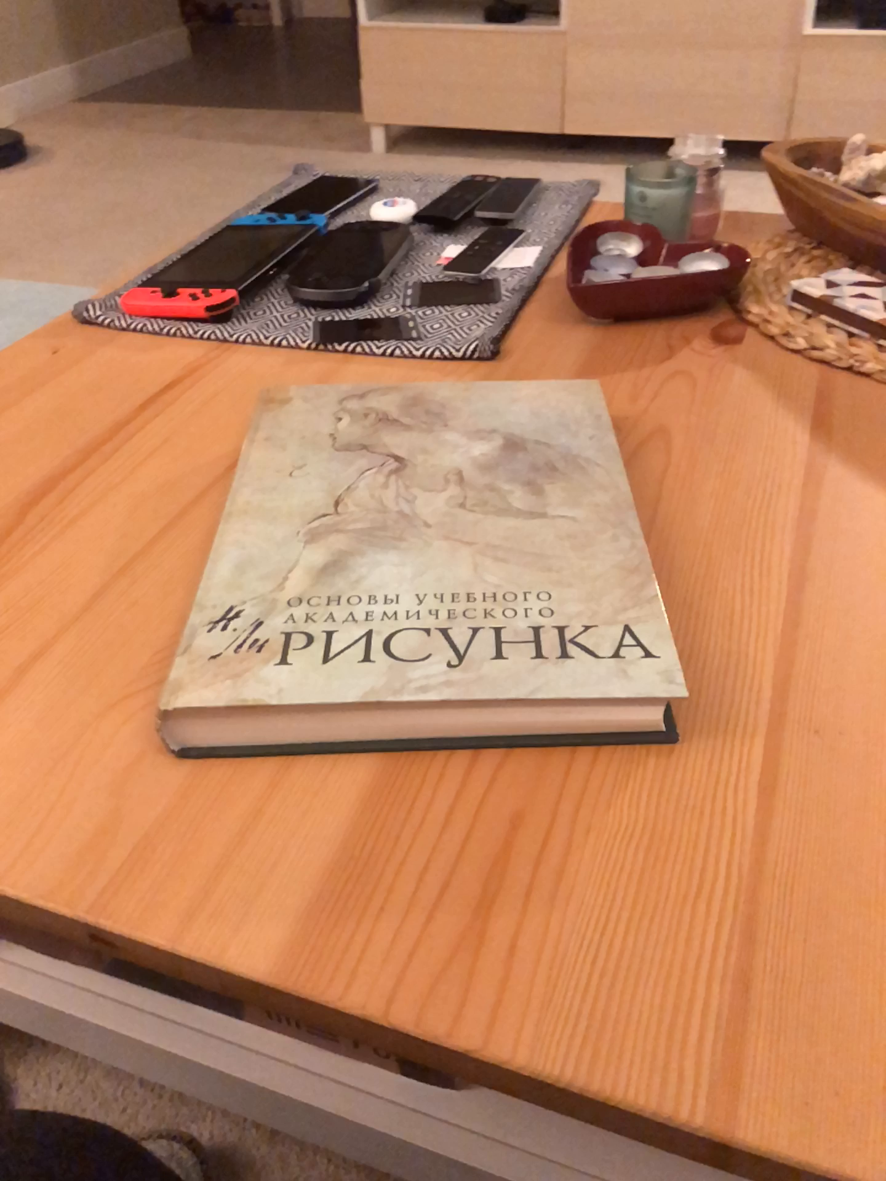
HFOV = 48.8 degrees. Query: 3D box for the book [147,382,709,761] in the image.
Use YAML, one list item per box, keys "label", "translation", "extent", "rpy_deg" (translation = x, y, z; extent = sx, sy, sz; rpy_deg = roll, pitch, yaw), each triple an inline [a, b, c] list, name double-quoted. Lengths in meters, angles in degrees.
- label: "book"
  translation: [-0.007, -0.029, 0.489]
  extent: [0.214, 0.030, 0.273]
  rpy_deg: [-1, 38, 0]
